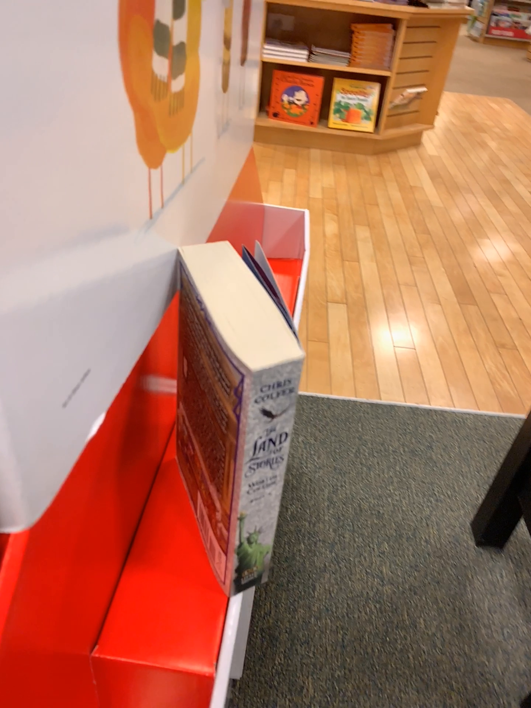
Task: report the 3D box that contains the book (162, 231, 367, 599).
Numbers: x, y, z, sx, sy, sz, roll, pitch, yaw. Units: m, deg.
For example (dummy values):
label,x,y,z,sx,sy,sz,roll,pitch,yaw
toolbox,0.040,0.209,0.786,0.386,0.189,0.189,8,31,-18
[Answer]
label,x,y,z,sx,sy,sz,roll,pitch,yaw
book,-0.015,0.040,0.355,0.065,0.193,0.130,-12,41,-22
